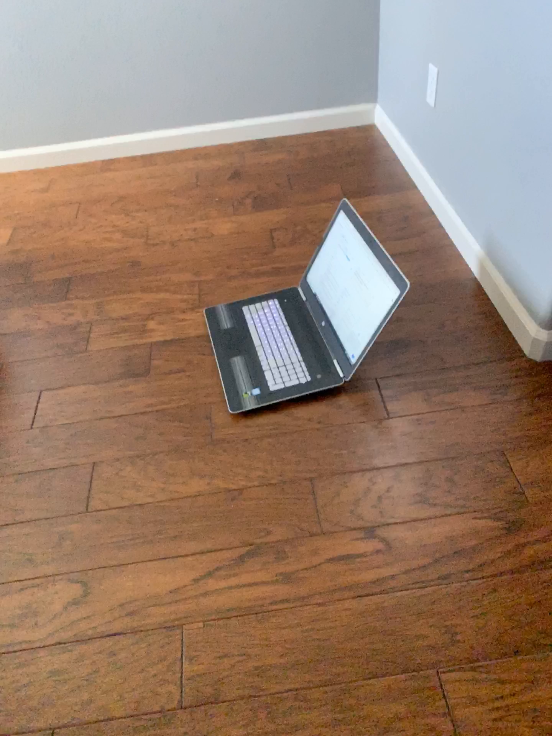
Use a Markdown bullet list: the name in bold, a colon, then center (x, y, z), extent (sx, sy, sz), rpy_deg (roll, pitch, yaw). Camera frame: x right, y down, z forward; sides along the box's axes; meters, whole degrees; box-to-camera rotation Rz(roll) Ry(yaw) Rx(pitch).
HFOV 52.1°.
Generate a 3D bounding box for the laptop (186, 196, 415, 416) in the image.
- **laptop**: center (0.039, -0.166, 1.352), extent (0.422, 0.233, 0.413), rpy_deg (-15, 44, -6)
